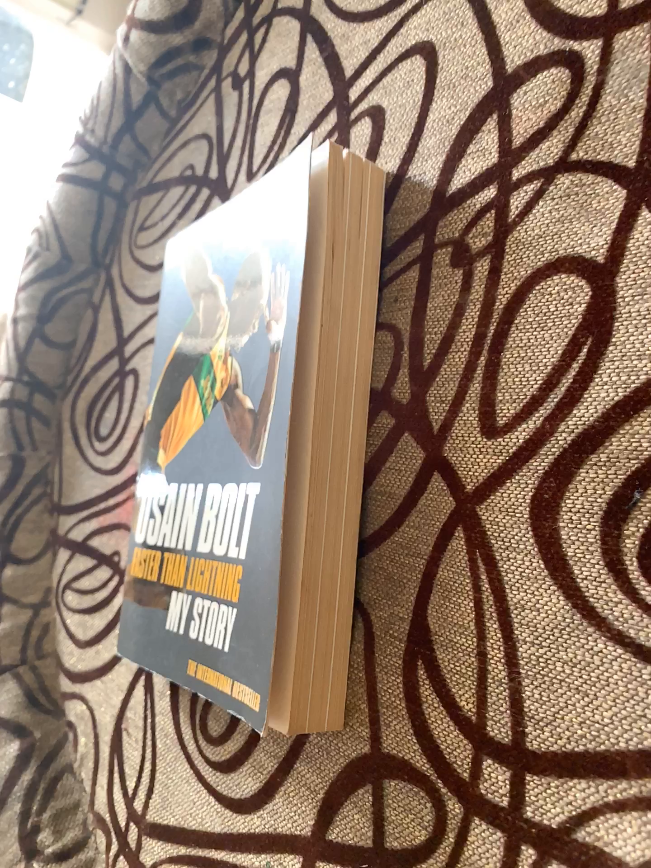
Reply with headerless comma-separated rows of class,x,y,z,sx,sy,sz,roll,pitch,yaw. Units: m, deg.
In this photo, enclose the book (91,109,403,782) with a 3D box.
book,-0.038,0.002,0.265,0.141,0.030,0.200,-5,77,52
